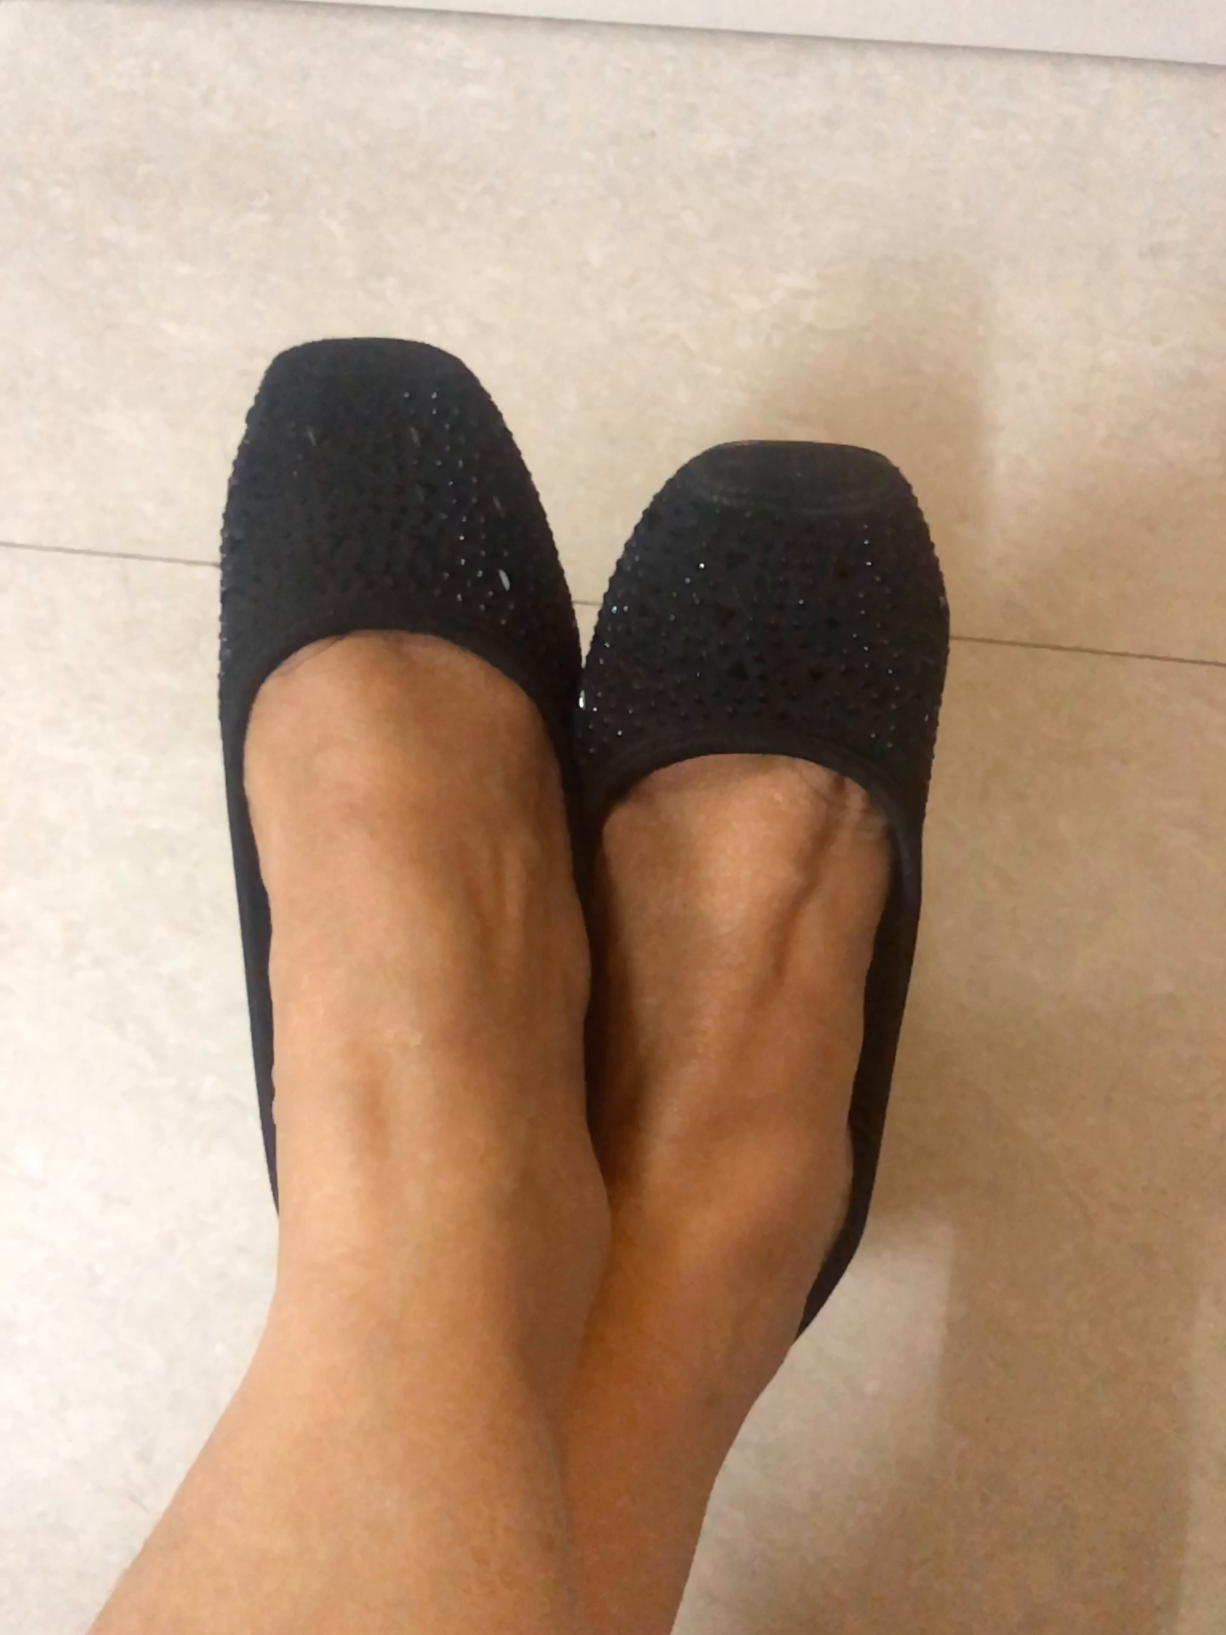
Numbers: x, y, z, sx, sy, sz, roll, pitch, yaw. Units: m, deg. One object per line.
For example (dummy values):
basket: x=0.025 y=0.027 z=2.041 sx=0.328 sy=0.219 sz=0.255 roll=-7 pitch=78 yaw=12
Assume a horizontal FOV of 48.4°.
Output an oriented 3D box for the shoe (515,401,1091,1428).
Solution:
shoe: x=0.035 y=0.030 z=0.337 sx=0.100 sy=0.070 sz=0.240 roll=6 pitch=116 yaw=5

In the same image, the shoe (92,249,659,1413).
shoe: x=-0.048 y=0.008 z=0.344 sx=0.100 sy=0.070 sz=0.270 roll=-4 pitch=107 yaw=-4
